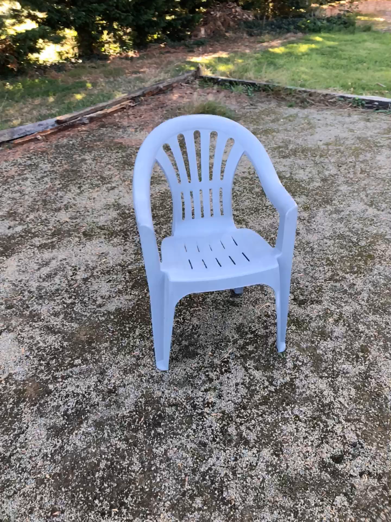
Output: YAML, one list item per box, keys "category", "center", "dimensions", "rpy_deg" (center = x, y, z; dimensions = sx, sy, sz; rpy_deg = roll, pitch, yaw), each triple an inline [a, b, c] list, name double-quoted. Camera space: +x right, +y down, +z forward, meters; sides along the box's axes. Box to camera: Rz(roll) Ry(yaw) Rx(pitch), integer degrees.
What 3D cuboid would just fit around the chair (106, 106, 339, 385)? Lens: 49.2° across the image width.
- category: "chair"
  center: [0.046, -0.080, 1.606]
  dimensions: [0.630, 0.775, 0.623]
  rpy_deg: [-6, 35, -6]
